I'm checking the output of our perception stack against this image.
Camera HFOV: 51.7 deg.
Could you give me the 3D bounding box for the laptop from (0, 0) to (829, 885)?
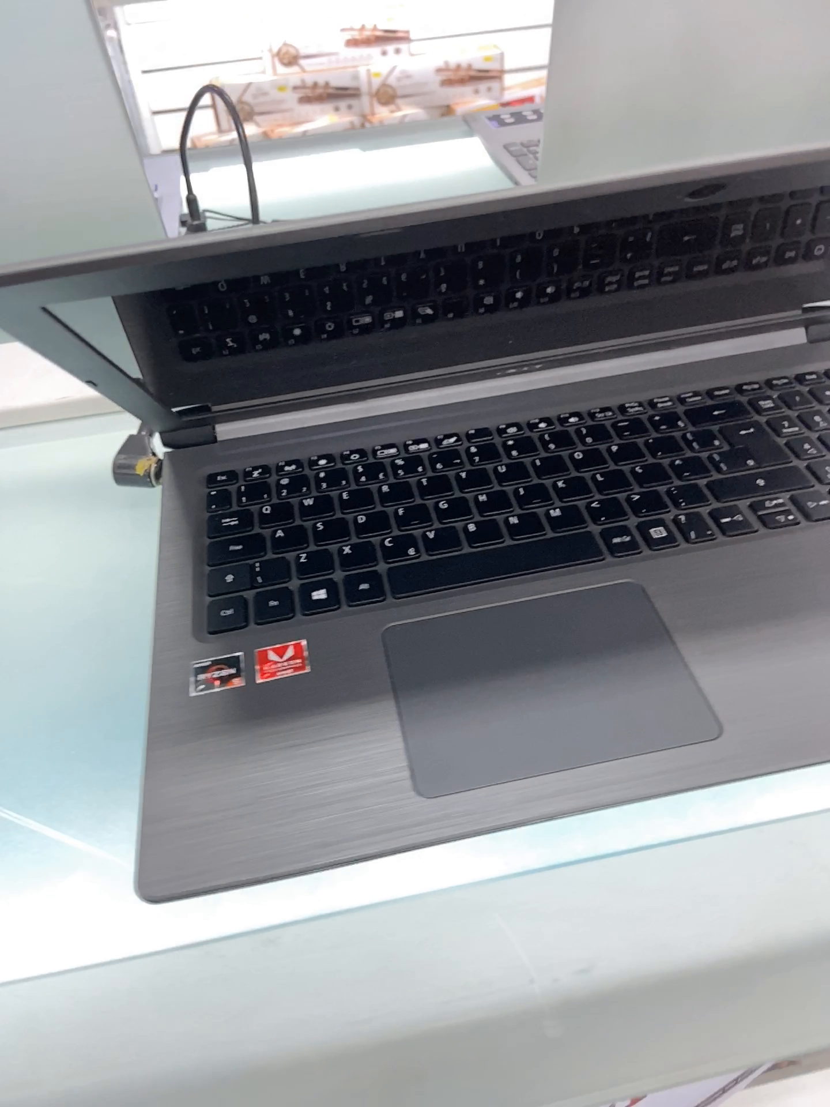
[{"bbox_3d":[0.060,-0.066,0.291,0.343,0.155,0.221,-11,41,-5],"label":"laptop"}]
